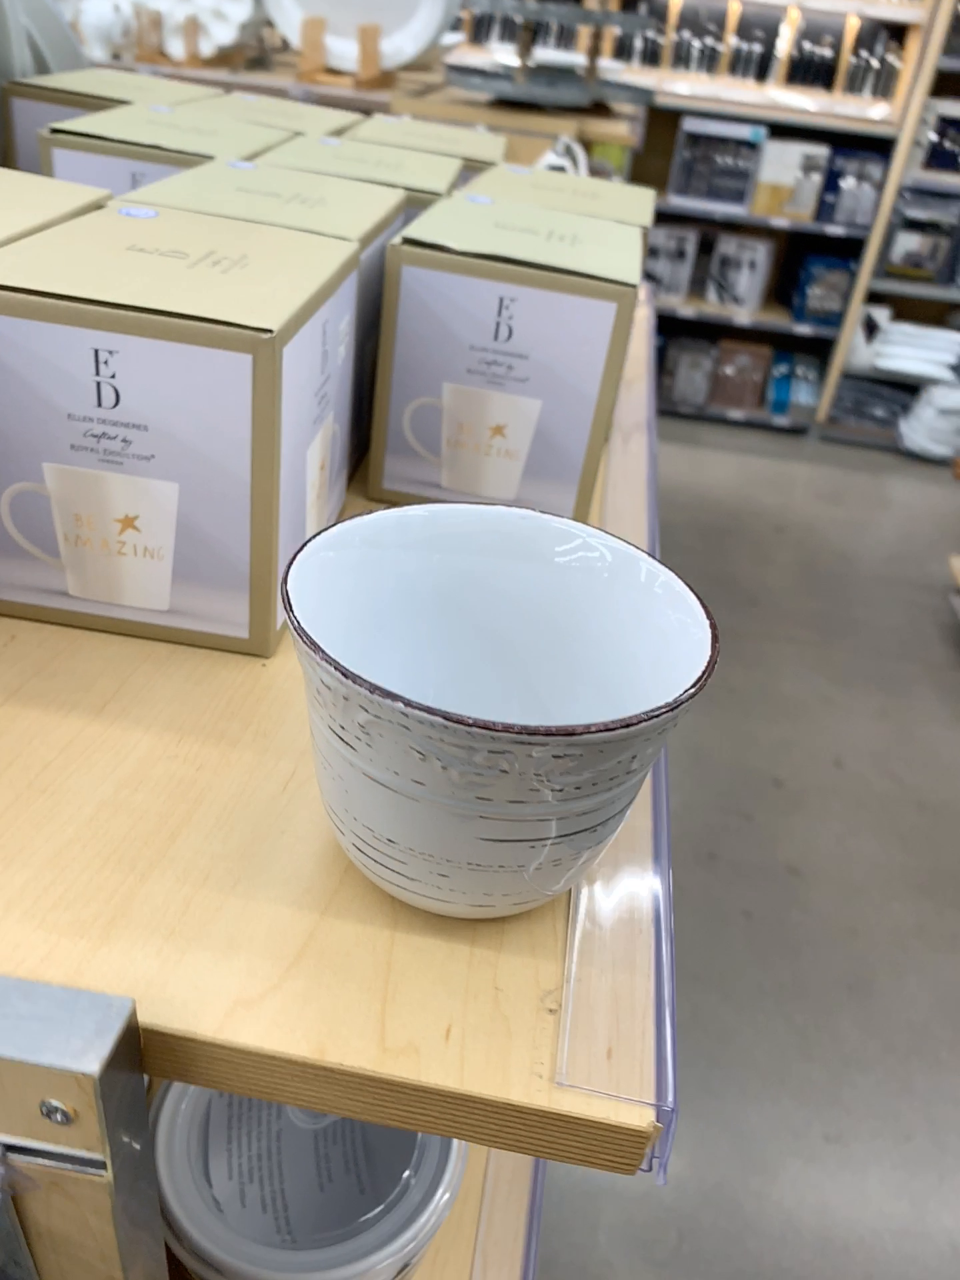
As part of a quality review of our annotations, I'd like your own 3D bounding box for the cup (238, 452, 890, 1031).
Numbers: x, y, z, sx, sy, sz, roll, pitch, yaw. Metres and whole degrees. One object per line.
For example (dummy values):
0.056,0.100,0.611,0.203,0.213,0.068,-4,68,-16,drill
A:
0.016,0.013,0.276,0.124,0.075,0.114,5,33,-3,cup
